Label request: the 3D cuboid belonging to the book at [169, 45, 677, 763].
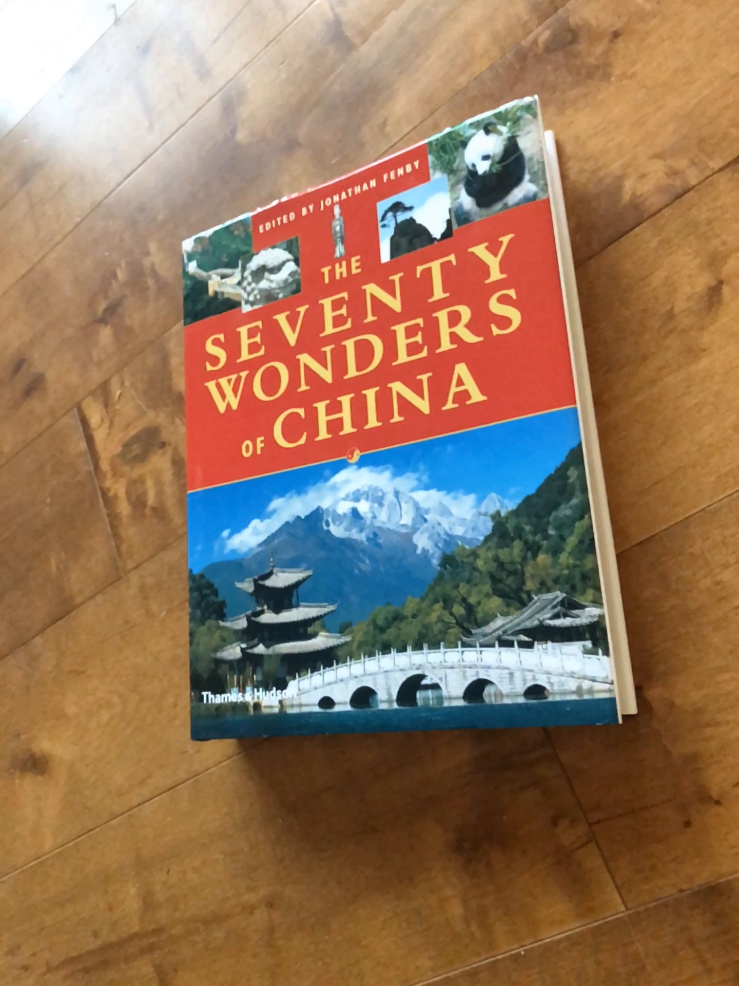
[{"bbox_3d":[0.005,-0.028,0.390,0.221,0.050,0.290,-12,74,29],"label":"book"}]
